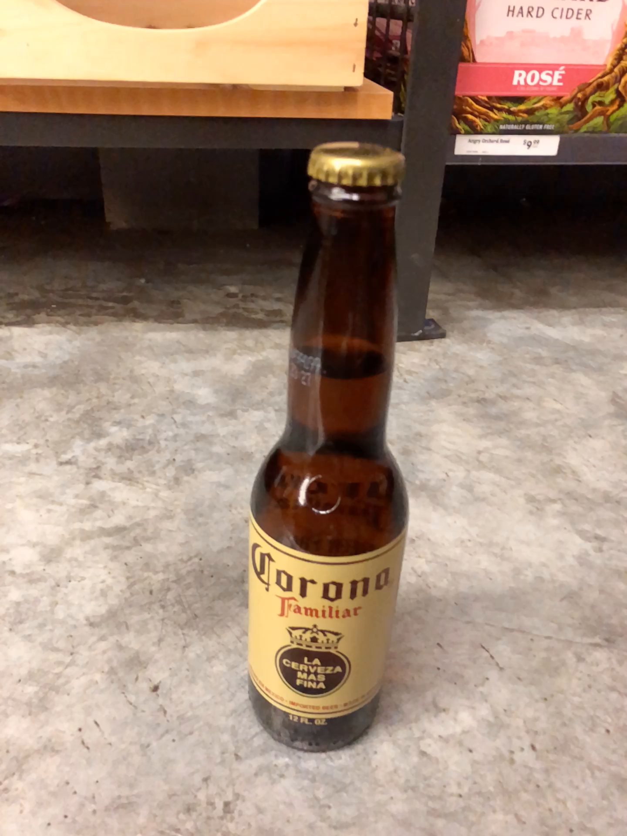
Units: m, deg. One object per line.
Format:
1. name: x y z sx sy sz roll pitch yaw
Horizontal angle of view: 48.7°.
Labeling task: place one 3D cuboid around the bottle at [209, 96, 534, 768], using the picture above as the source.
1. bottle: 0.011 0.016 0.234 0.070 0.216 0.070 2 31 -1
